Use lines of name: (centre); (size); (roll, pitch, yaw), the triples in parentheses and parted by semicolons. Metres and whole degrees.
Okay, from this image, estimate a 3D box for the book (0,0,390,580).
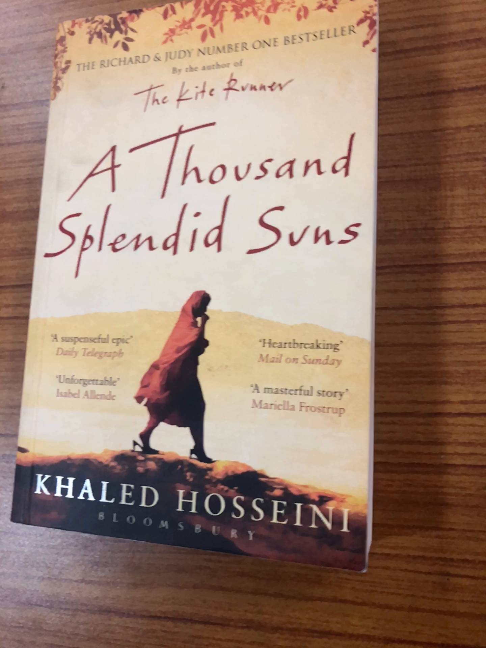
book: (-0.021, -0.021, 0.197); (0.140, 0.030, 0.190); (1, 84, 14)
